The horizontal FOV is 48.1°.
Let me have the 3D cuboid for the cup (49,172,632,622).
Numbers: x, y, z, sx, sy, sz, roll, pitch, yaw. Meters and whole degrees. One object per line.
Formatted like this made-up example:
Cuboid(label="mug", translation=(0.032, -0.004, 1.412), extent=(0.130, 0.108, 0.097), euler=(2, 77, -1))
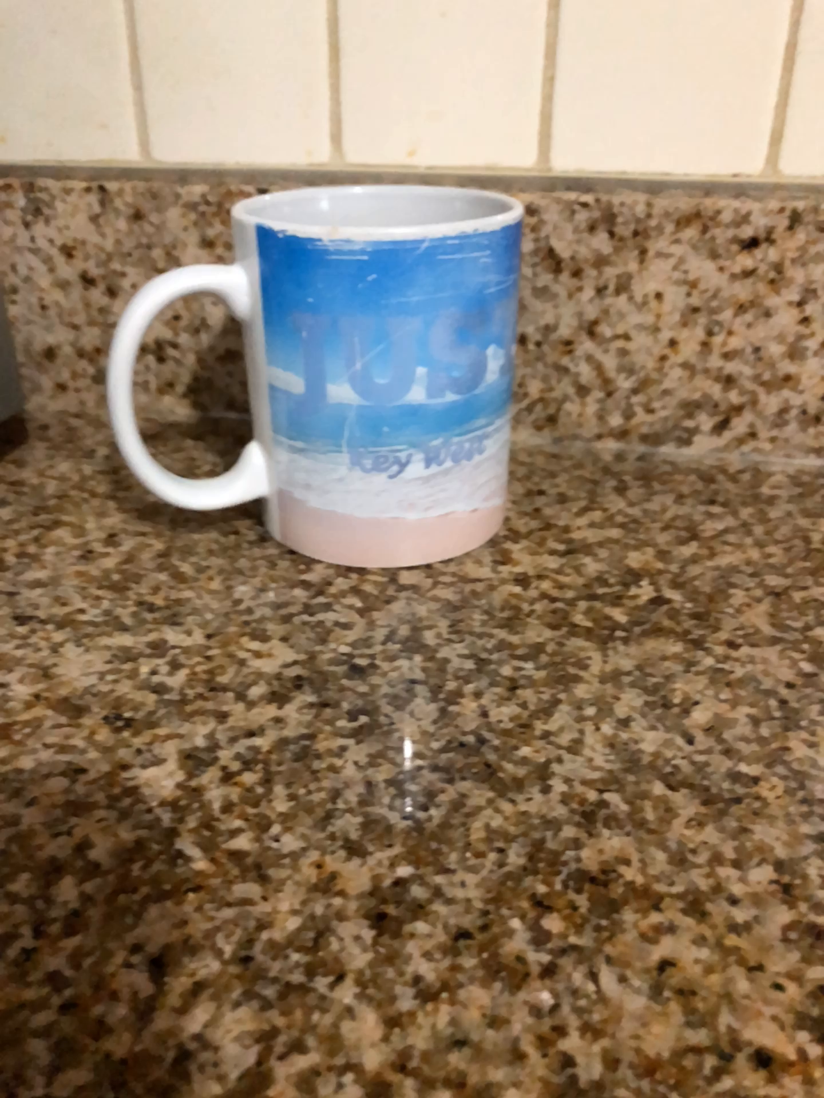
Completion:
Cuboid(label="cup", translation=(-0.024, -0.052, 0.259), extent=(0.130, 0.090, 0.090), euler=(-10, 28, -19))
